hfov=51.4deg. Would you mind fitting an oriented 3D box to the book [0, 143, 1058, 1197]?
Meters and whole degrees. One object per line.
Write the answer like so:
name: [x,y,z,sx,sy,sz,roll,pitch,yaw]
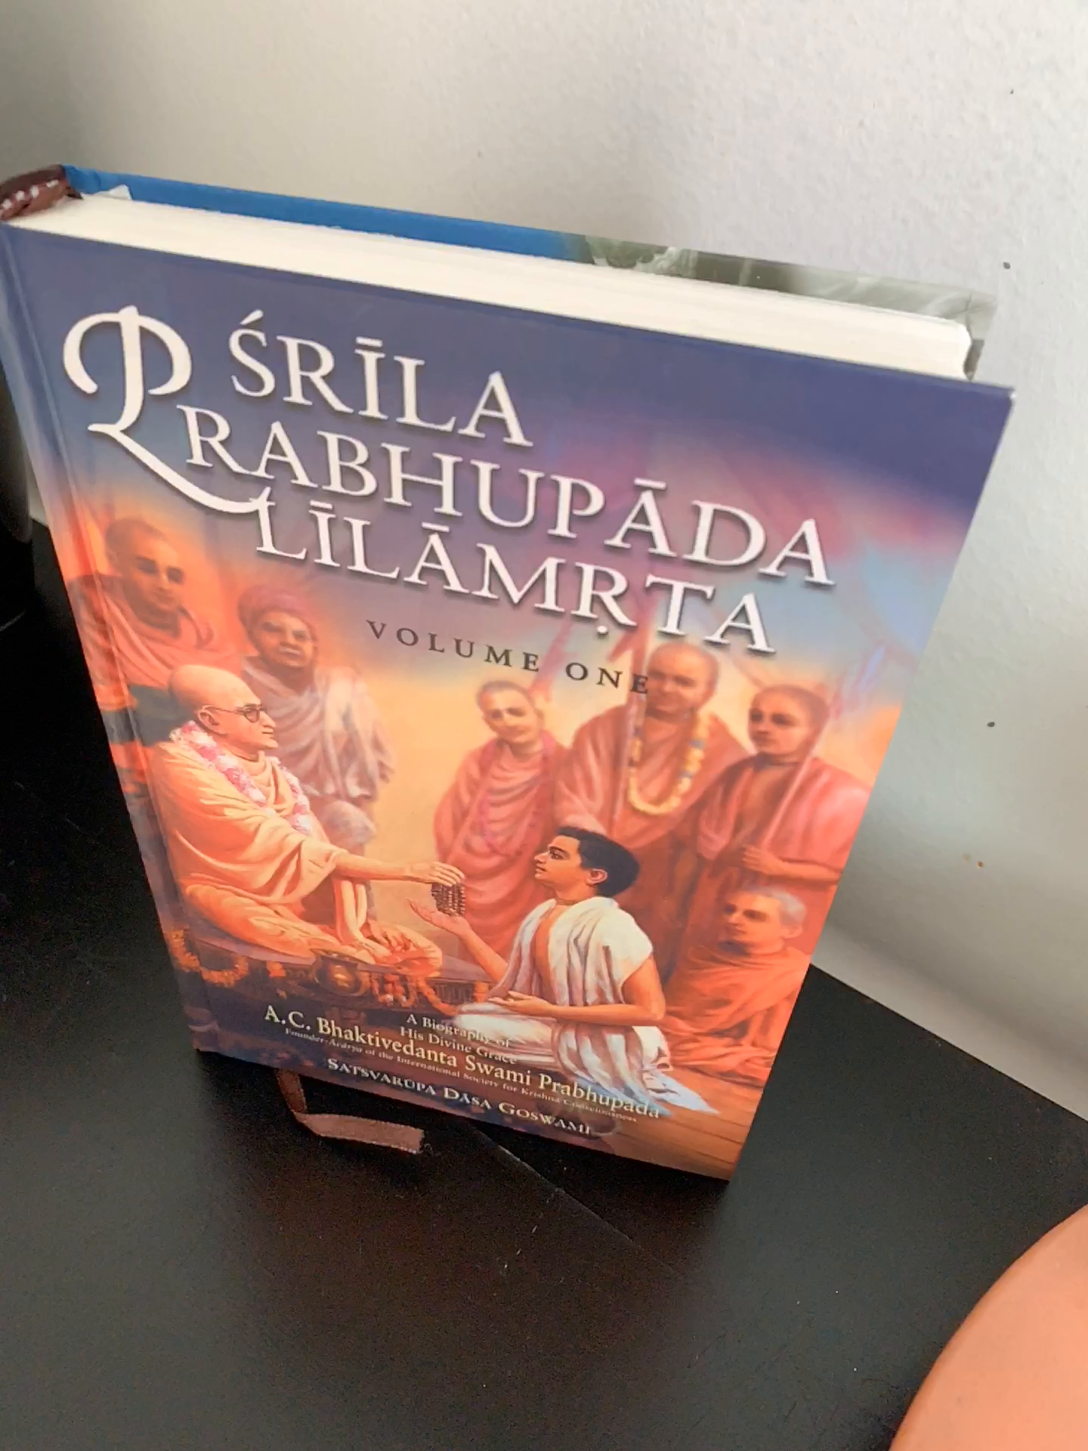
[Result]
book: [-0.016,0.014,0.247,0.161,0.232,0.030,12,43,8]
